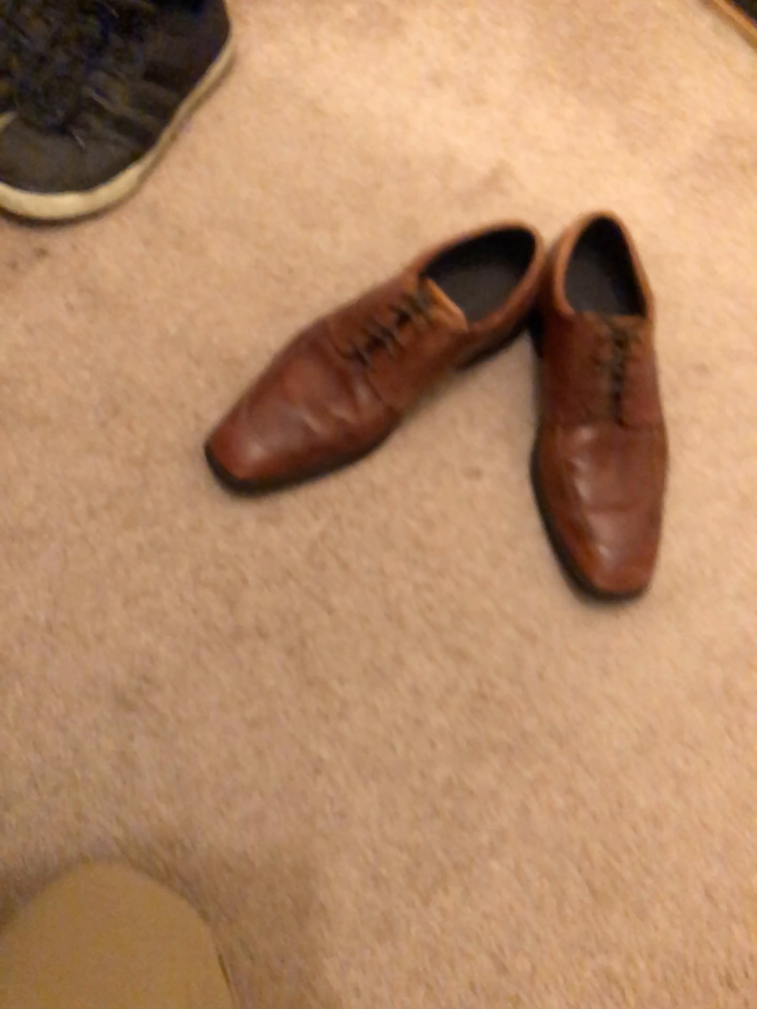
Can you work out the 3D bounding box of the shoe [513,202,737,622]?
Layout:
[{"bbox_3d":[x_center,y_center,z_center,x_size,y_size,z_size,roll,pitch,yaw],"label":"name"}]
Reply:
[{"bbox_3d":[0.177,-0.070,0.652,0.100,0.110,0.301,1,70,-7],"label":"shoe"}]

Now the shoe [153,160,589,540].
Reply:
[{"bbox_3d":[-0.004,-0.120,0.658,0.301,0.120,0.120,-35,78,-17],"label":"shoe"}]
